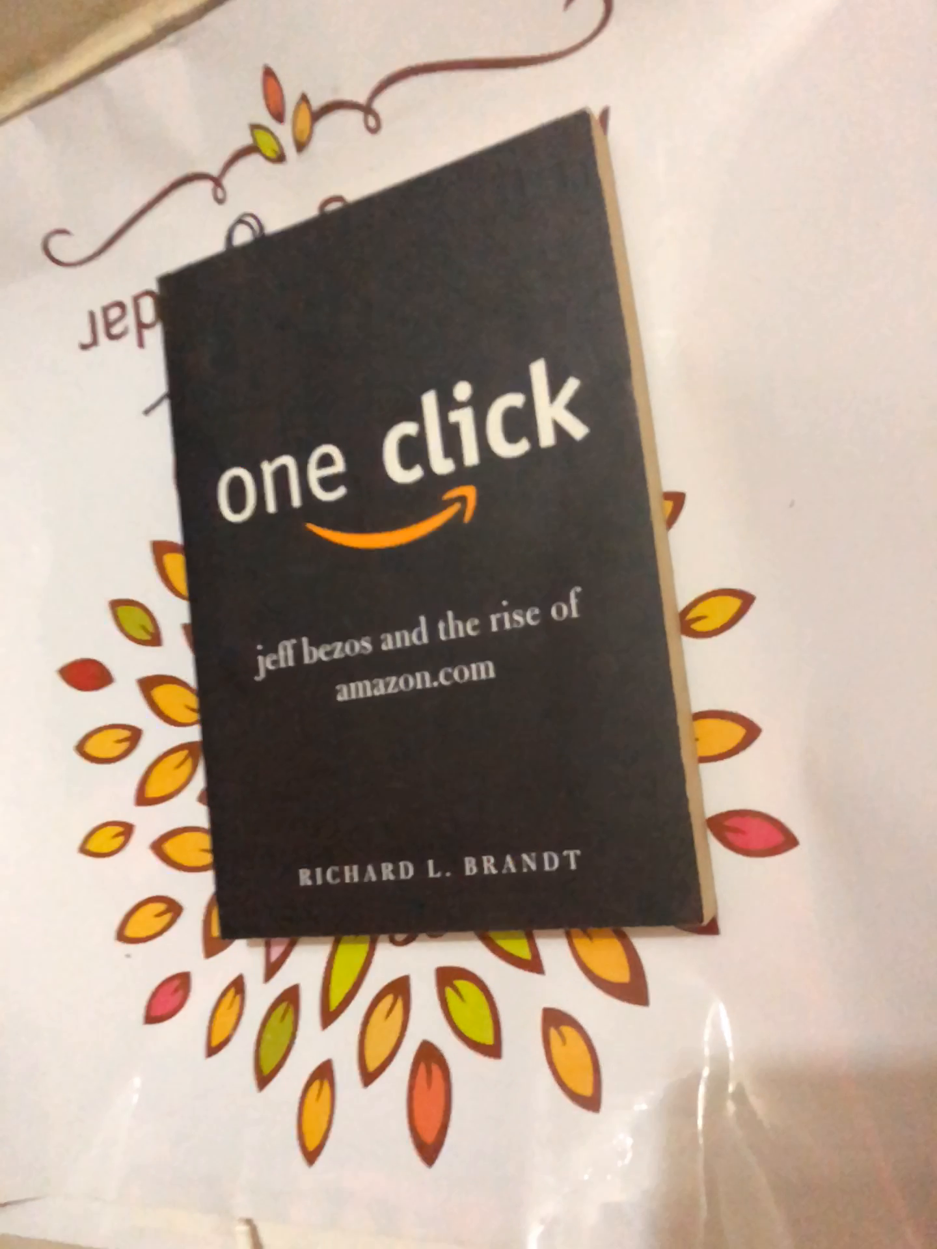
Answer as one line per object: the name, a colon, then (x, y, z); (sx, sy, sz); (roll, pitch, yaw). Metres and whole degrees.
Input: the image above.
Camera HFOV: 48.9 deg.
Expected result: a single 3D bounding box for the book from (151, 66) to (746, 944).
book: (-0.019, -0.026, 0.300); (0.160, 0.020, 0.220); (-12, 78, 27)
